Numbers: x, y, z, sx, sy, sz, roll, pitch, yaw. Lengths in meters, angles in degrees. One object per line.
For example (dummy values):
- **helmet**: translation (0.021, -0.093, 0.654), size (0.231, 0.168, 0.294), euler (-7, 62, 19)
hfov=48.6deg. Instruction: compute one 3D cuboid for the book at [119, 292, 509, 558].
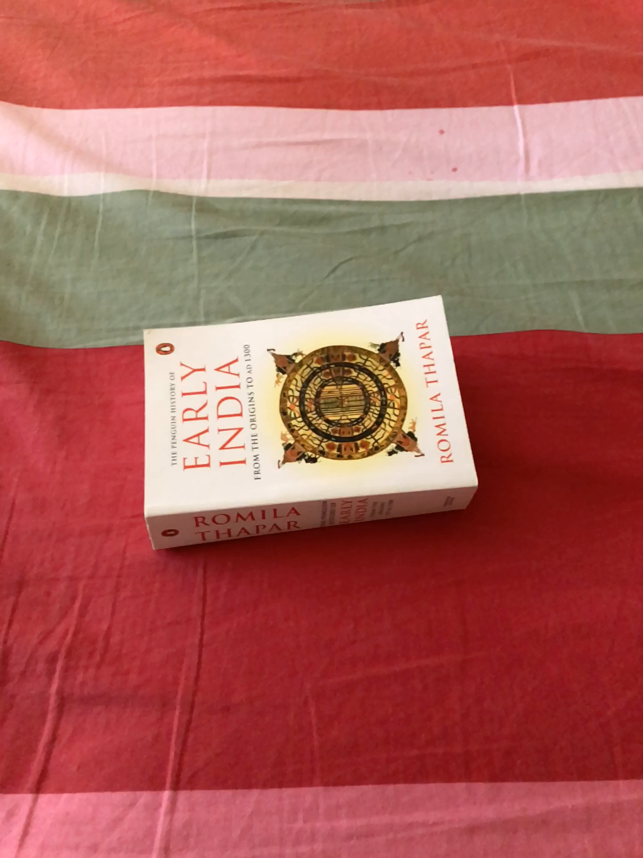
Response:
- **book**: translation (-0.011, -0.007, 0.428), size (0.201, 0.070, 0.121), euler (-6, 57, -11)
